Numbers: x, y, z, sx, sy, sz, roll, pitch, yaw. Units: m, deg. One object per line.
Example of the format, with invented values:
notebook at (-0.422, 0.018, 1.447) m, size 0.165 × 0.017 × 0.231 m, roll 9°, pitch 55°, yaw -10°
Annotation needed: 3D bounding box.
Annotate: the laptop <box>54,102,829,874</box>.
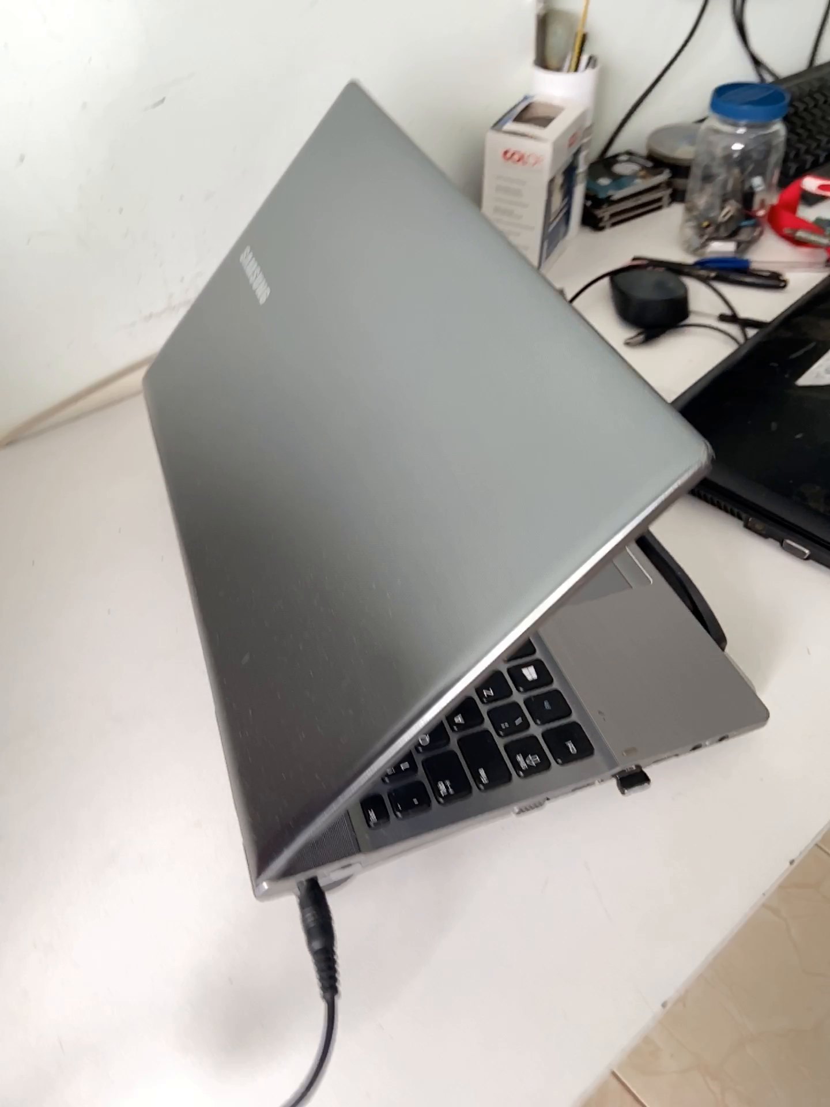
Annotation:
laptop at (-0.020, -0.076, 0.427) m, size 0.230 × 0.164 × 0.360 m, roll -14°, pitch 46°, yaw -15°
